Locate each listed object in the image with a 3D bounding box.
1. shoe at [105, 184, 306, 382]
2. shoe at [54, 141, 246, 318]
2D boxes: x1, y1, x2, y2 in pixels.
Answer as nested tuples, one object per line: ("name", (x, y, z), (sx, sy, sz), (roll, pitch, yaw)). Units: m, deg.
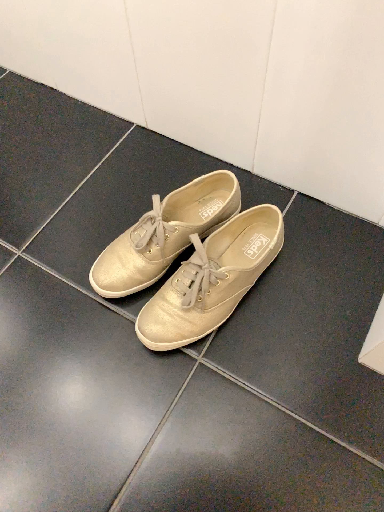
("shoe", (0.022, 0.031, 0.491), (0.230, 0.100, 0.090), (-40, 67, -19))
("shoe", (-0.047, -0.038, 0.530), (0.230, 0.100, 0.090), (-36, 66, -17))
